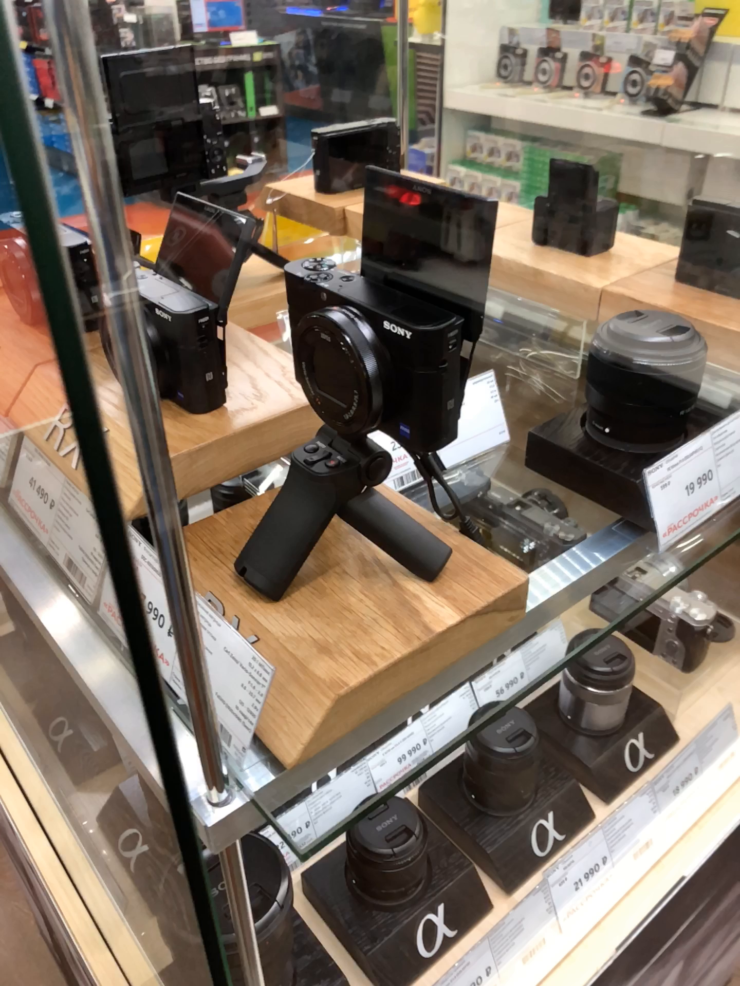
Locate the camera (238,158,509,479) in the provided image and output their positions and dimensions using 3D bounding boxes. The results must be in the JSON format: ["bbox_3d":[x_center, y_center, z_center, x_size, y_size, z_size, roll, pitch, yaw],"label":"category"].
[{"bbox_3d":[-0.001,-0.080,0.358,0.057,0.102,0.102,-25,40,-32],"label":"camera"}]

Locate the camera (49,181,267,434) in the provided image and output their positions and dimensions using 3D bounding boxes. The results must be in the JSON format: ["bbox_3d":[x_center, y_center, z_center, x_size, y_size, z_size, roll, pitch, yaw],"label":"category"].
[{"bbox_3d":[-0.117,-0.107,0.459,0.065,0.102,0.102,-25,40,-32],"label":"camera"}]
